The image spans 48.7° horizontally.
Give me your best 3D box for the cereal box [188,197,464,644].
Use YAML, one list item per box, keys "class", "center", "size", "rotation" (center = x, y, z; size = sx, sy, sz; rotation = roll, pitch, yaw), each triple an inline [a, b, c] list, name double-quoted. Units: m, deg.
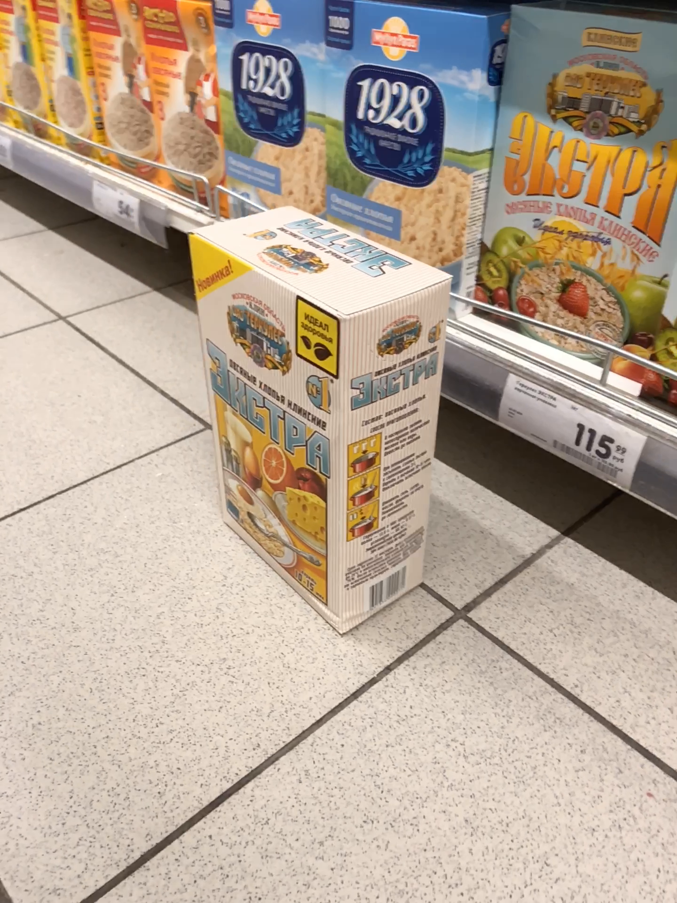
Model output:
- class: "cereal box"
  center: [-0.012, -0.020, 0.490]
  size: [0.080, 0.239, 0.151]
  rotation: [-25, 42, -31]
